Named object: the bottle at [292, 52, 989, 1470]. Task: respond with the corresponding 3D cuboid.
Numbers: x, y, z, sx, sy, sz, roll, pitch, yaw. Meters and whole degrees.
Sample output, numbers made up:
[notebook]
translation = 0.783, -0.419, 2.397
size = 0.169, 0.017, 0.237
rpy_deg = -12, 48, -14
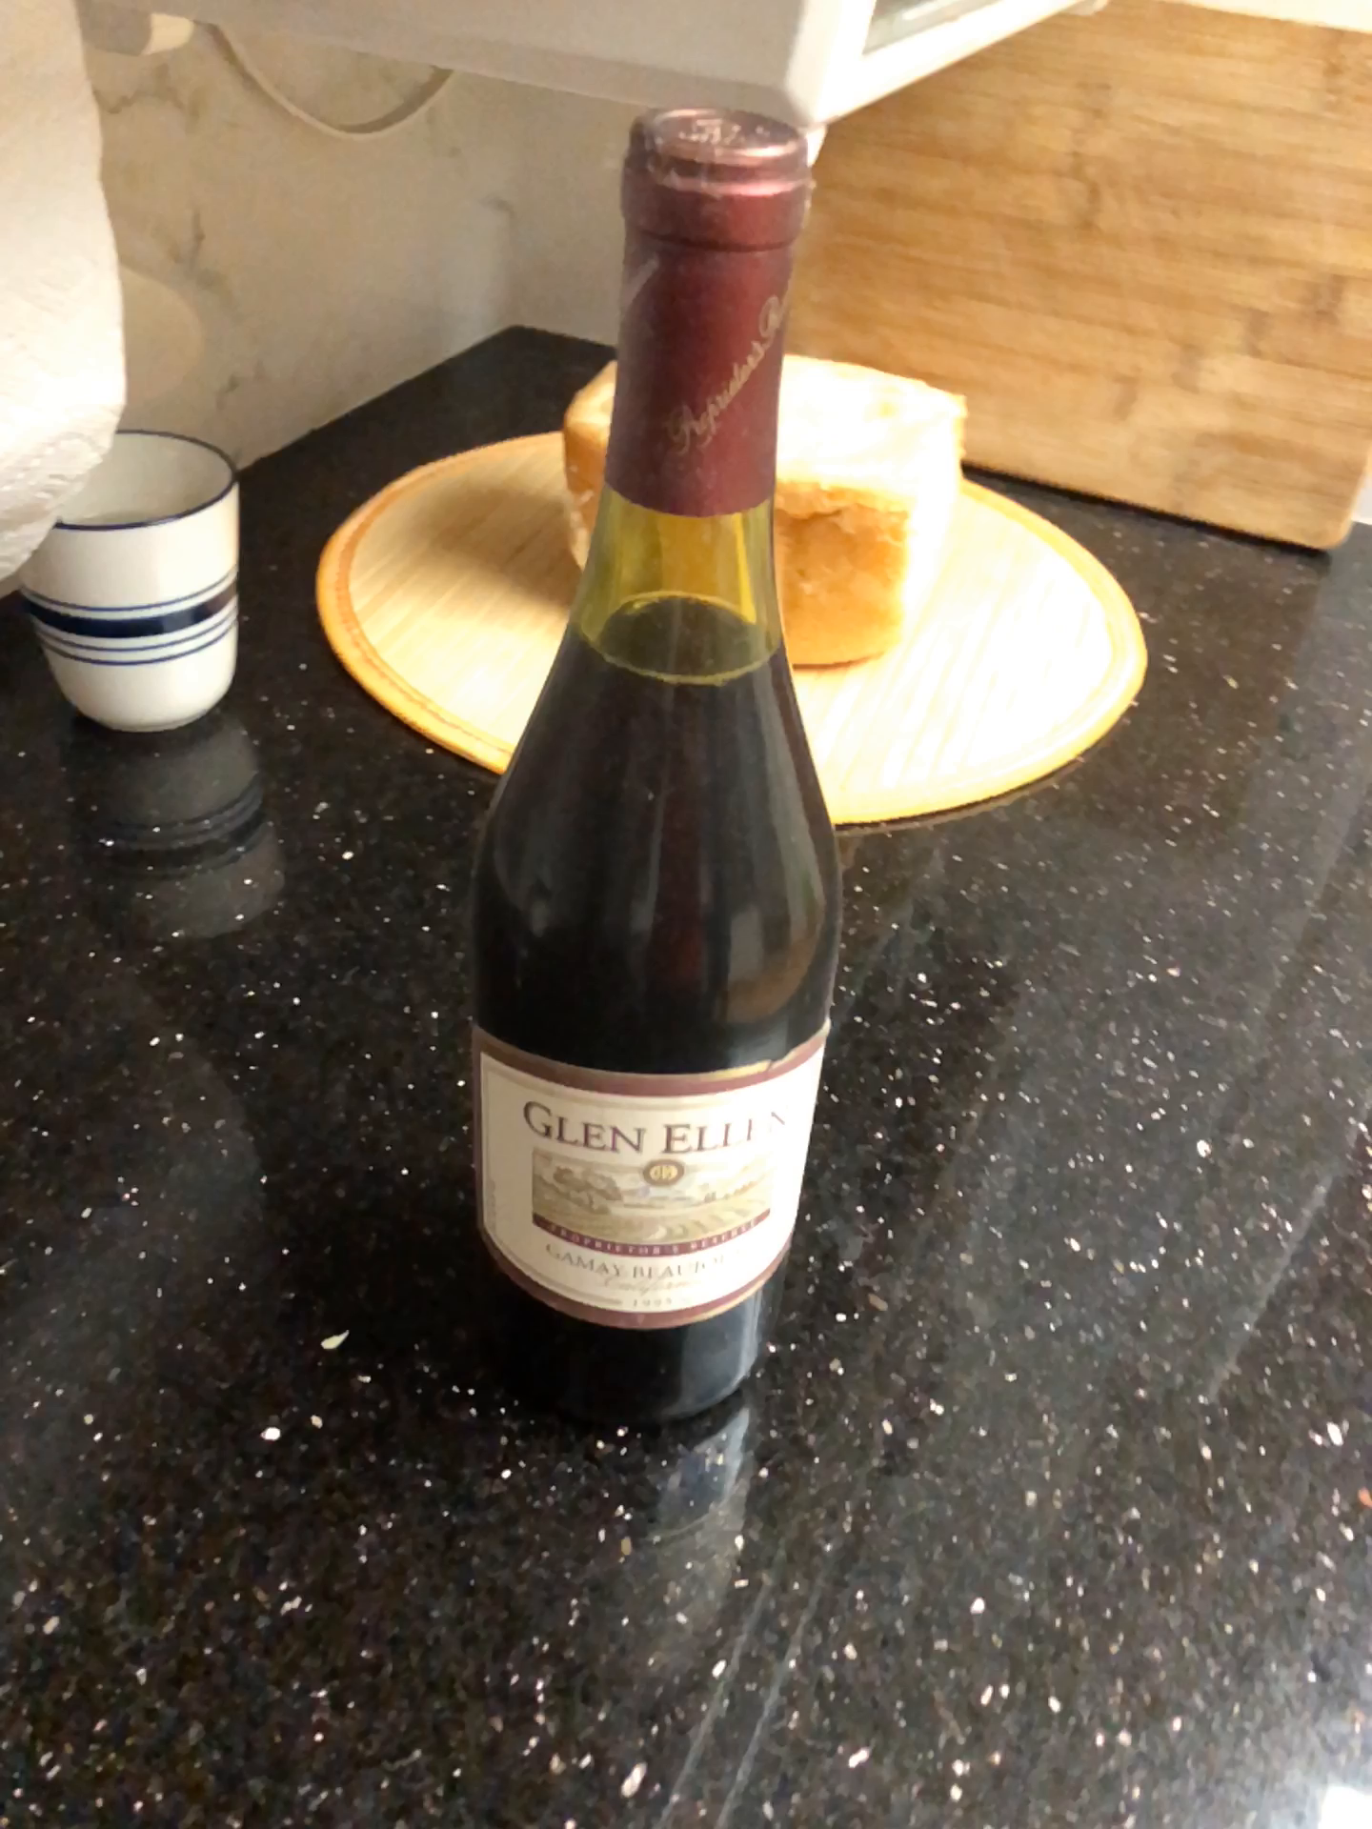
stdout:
[bottle]
translation = -0.013, -0.007, 0.320
size = 0.090, 0.288, 0.091
rpy_deg = 3, 39, -2
